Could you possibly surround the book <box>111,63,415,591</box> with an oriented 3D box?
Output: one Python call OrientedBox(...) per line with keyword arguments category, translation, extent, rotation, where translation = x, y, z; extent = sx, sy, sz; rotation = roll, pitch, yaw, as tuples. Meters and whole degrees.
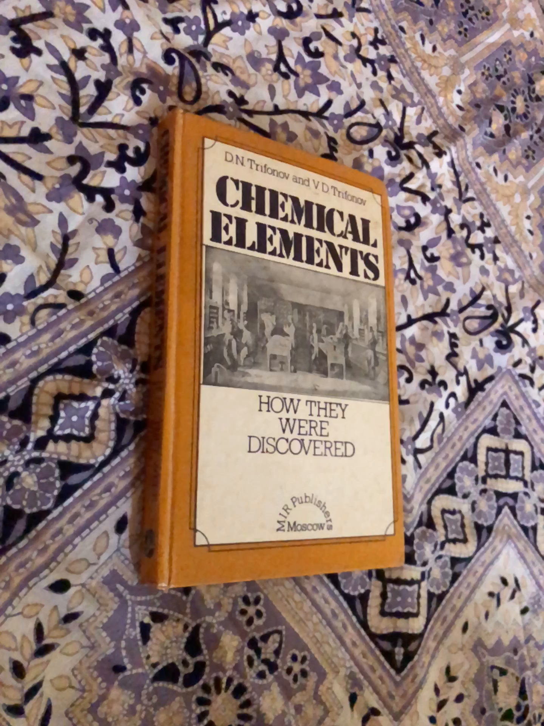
OrientedBox(category="book", translation=(0.002, -0.014, 0.294), extent=(0.141, 0.030, 0.220), rotation=(8, 75, -32))
